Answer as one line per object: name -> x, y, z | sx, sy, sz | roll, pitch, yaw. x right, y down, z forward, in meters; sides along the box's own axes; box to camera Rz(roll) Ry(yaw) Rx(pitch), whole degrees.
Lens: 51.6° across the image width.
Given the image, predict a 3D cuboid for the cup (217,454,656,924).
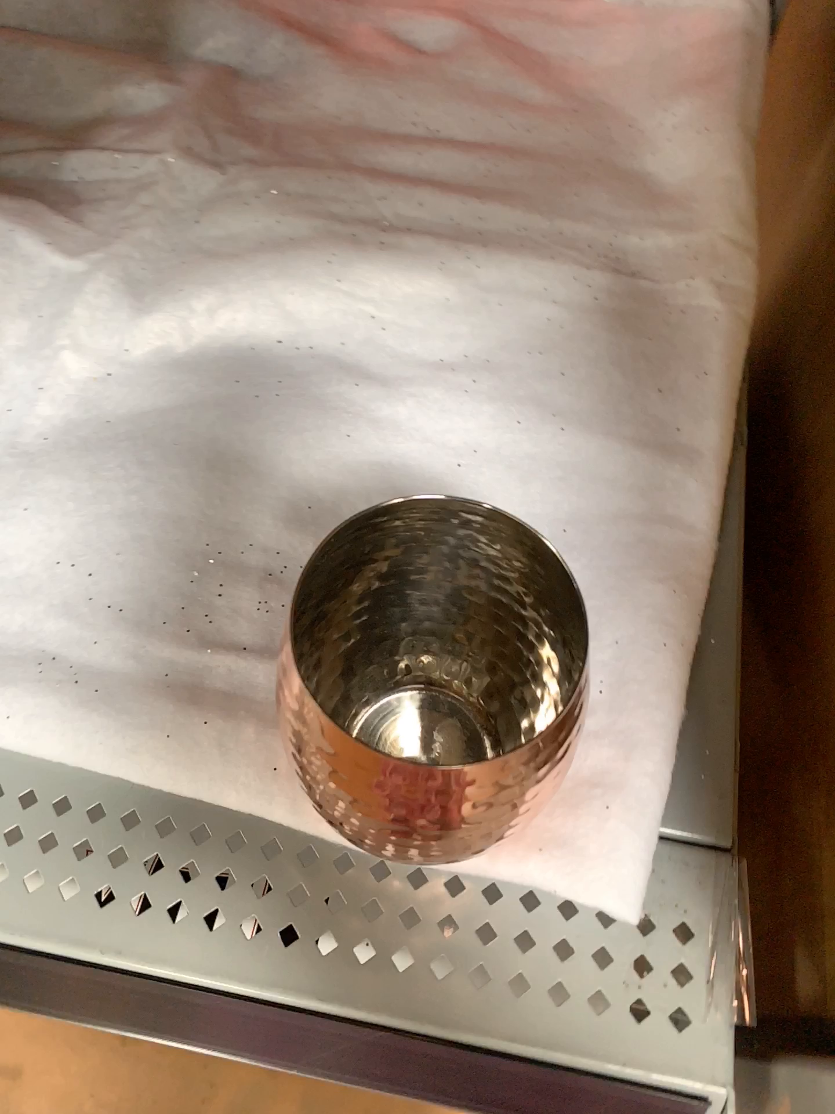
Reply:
cup -> 0.008, 0.042, 0.236 | 0.078, 0.104, 0.080 | 0, 62, 1
